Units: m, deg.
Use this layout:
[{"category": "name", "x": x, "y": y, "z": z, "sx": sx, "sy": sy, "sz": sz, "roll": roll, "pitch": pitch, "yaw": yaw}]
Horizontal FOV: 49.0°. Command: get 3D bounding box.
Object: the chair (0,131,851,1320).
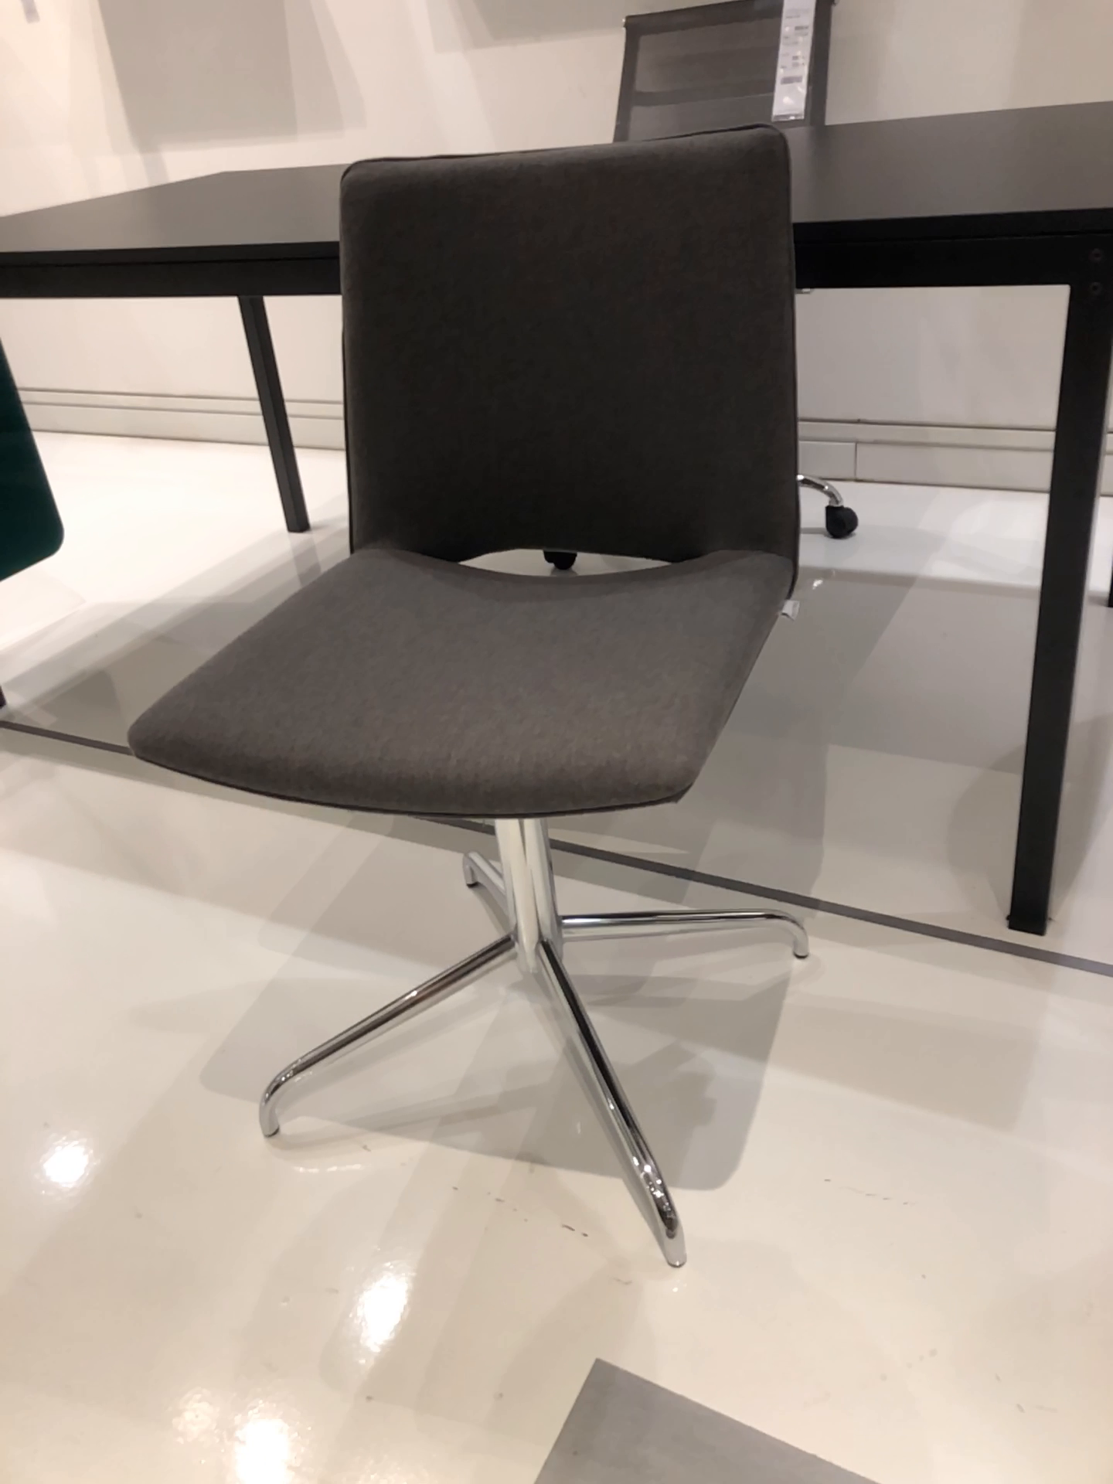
[{"category": "chair", "x": -0.041, "y": -0.040, "z": 1.115, "sx": 0.520, "sy": 0.844, "sz": 0.533, "roll": 5, "pitch": 32, "yaw": 20}]
